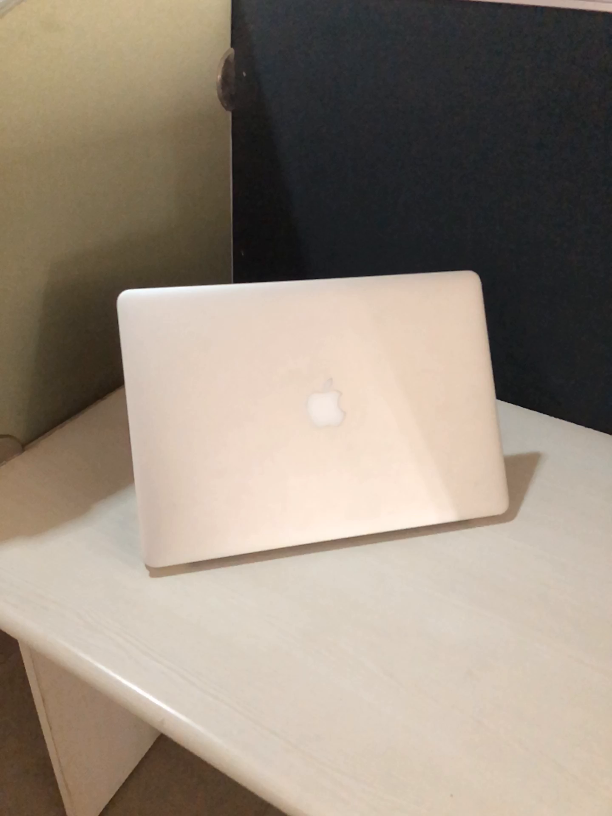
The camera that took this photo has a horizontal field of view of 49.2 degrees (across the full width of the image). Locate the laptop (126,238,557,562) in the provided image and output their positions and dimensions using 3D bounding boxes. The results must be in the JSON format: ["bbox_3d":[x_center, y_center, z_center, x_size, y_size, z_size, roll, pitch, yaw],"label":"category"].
[{"bbox_3d":[0.010,-0.028,0.668,0.343,0.198,0.236,-5,35,-15],"label":"laptop"}]
